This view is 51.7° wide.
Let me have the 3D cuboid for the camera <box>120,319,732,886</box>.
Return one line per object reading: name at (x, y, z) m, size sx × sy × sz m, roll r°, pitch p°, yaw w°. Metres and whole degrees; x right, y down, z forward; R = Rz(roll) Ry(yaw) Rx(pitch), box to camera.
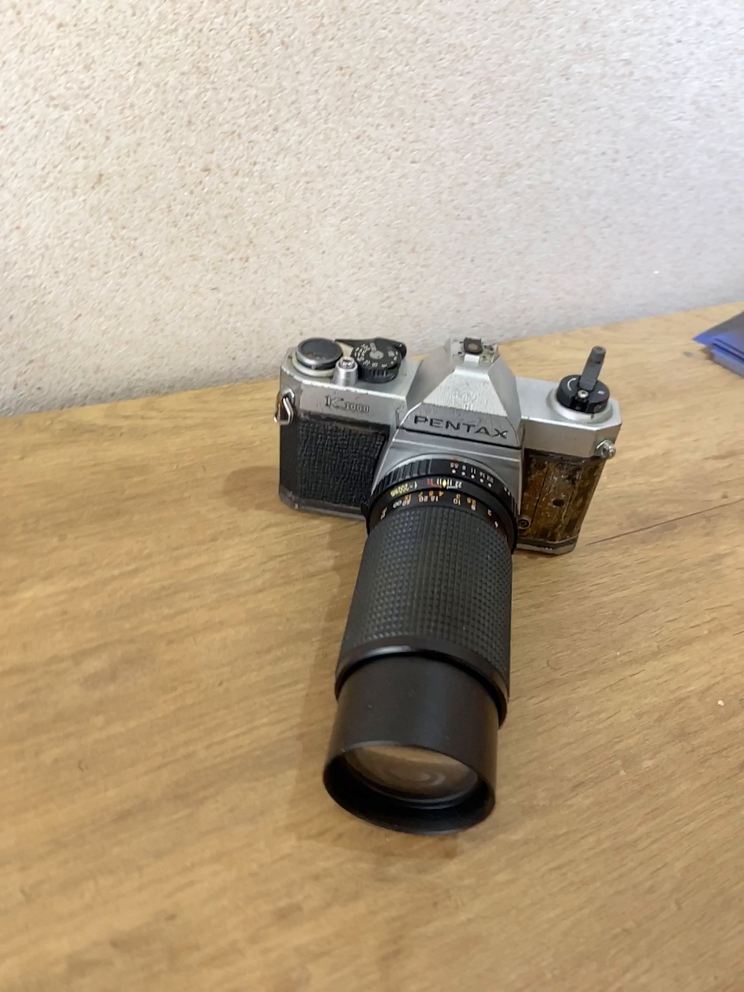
camera at (0.020, 0.021, 0.282) m, size 0.150 × 0.079 × 0.181 m, roll 8°, pitch 39°, yaw 3°
